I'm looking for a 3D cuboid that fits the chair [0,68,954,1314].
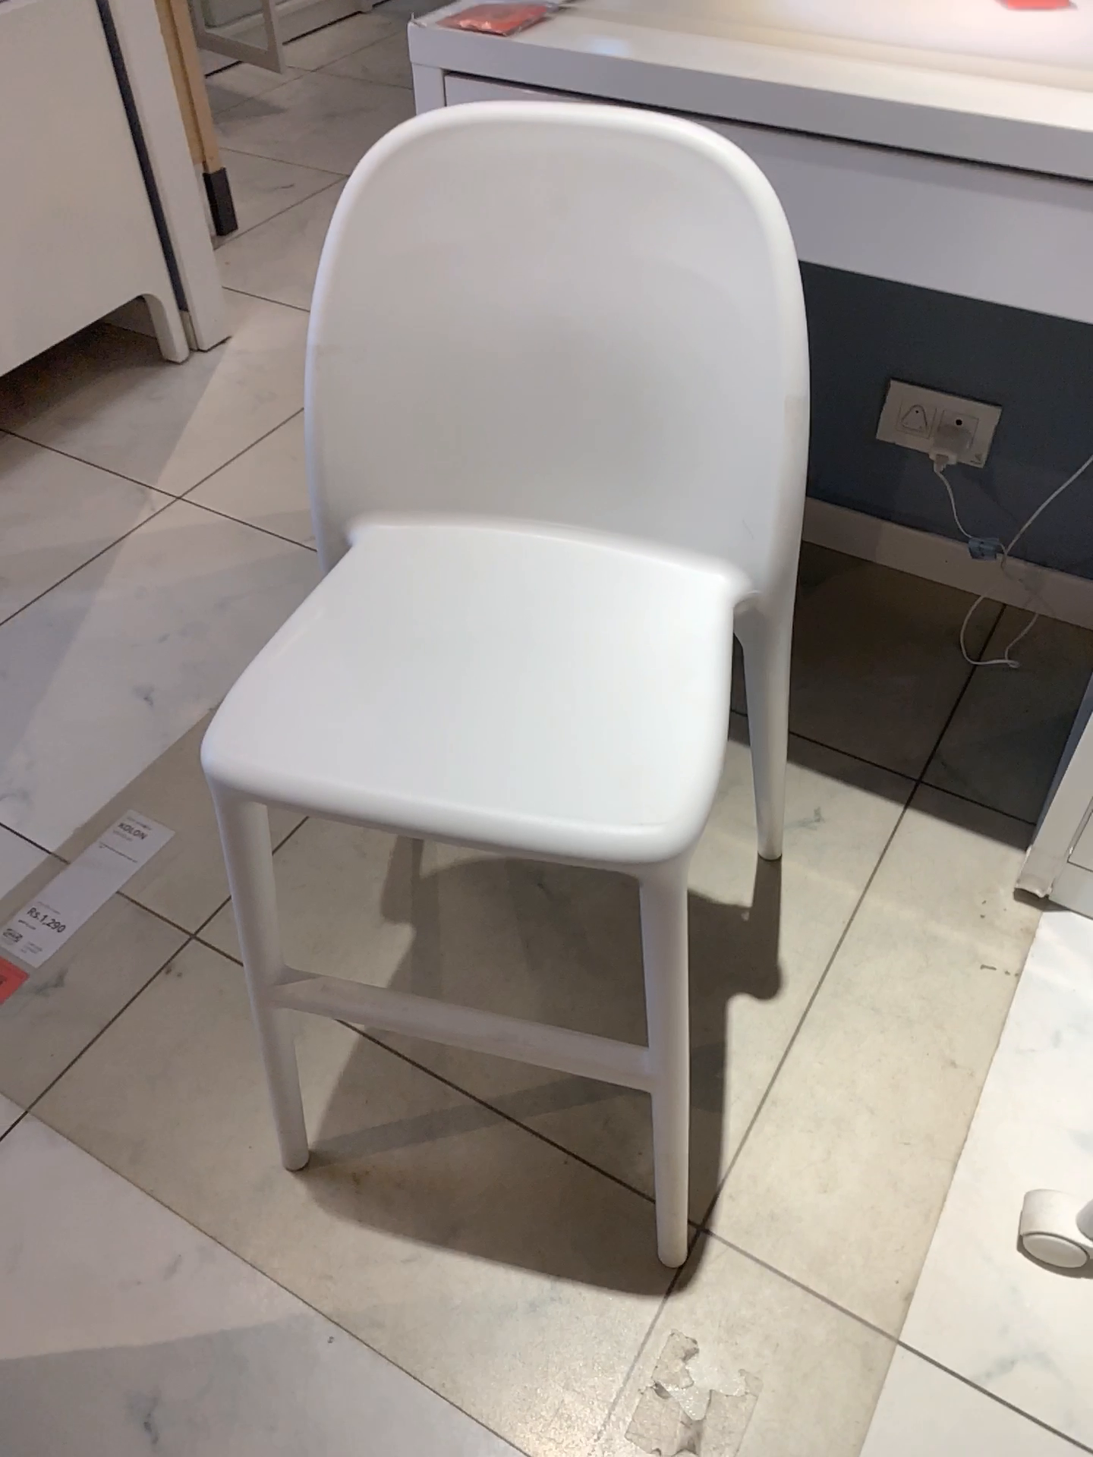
[{"bbox_3d":[-0.021,0.000,0.833,0.450,0.727,0.492,10,47,12],"label":"chair"}]
